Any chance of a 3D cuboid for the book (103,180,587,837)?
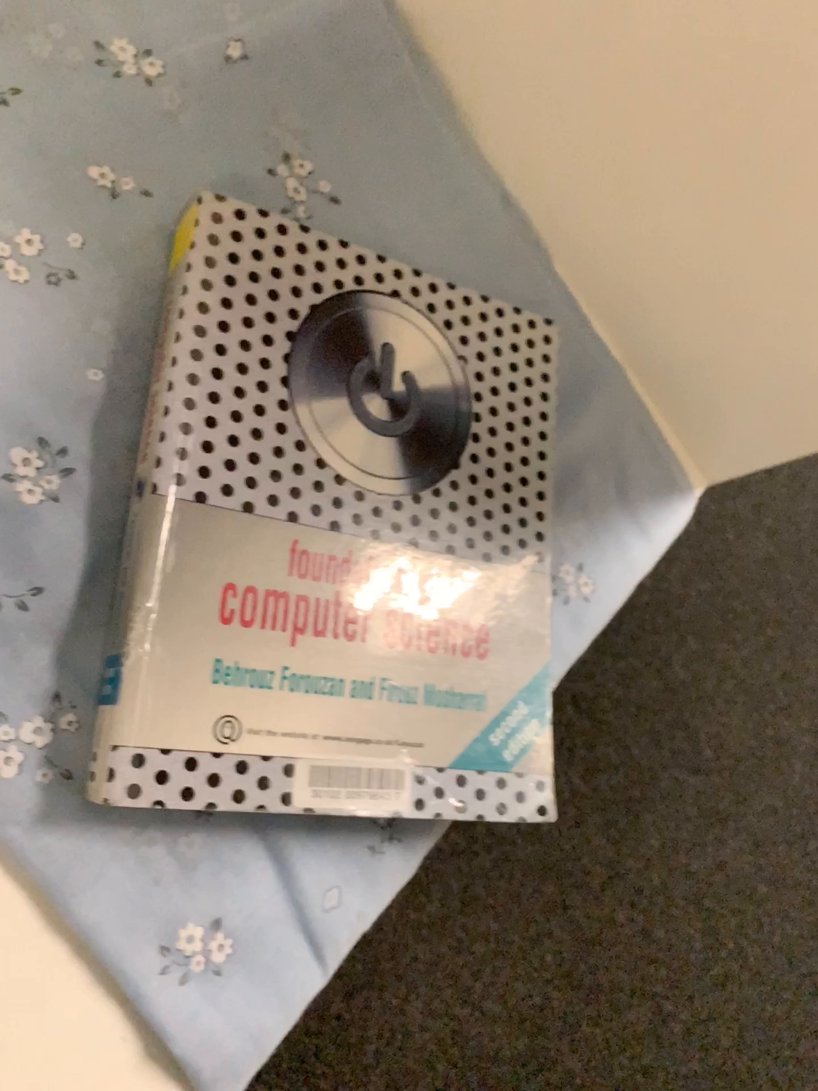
[{"bbox_3d":[-0.011,-0.007,0.368,0.191,0.040,0.246,11,73,-27],"label":"book"}]
